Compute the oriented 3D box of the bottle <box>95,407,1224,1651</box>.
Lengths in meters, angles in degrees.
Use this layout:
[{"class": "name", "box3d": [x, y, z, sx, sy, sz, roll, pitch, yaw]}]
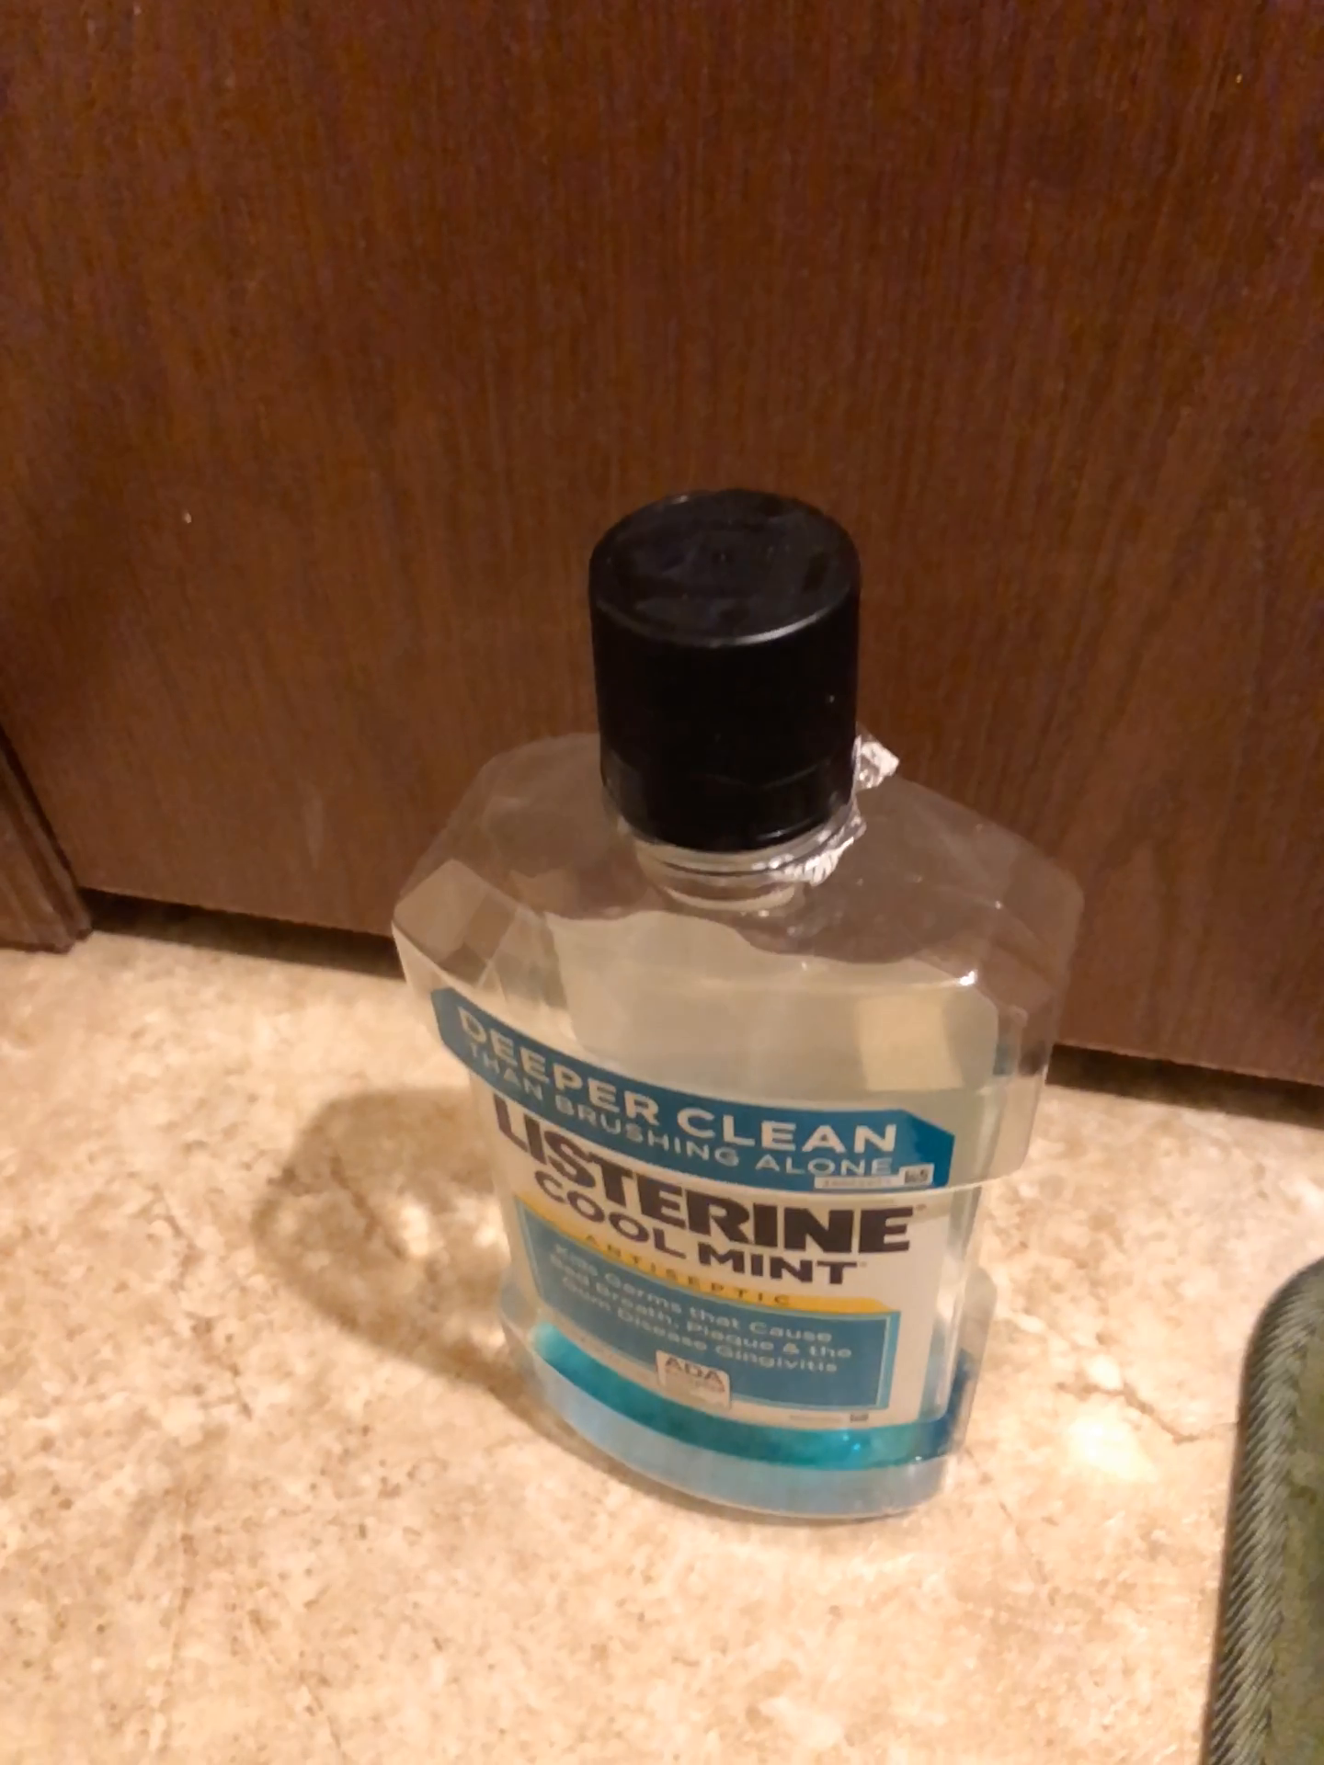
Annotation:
[{"class": "bottle", "box3d": [0.010, 0.042, 0.280, 0.130, 0.220, 0.090, 13, 49, 16]}]
